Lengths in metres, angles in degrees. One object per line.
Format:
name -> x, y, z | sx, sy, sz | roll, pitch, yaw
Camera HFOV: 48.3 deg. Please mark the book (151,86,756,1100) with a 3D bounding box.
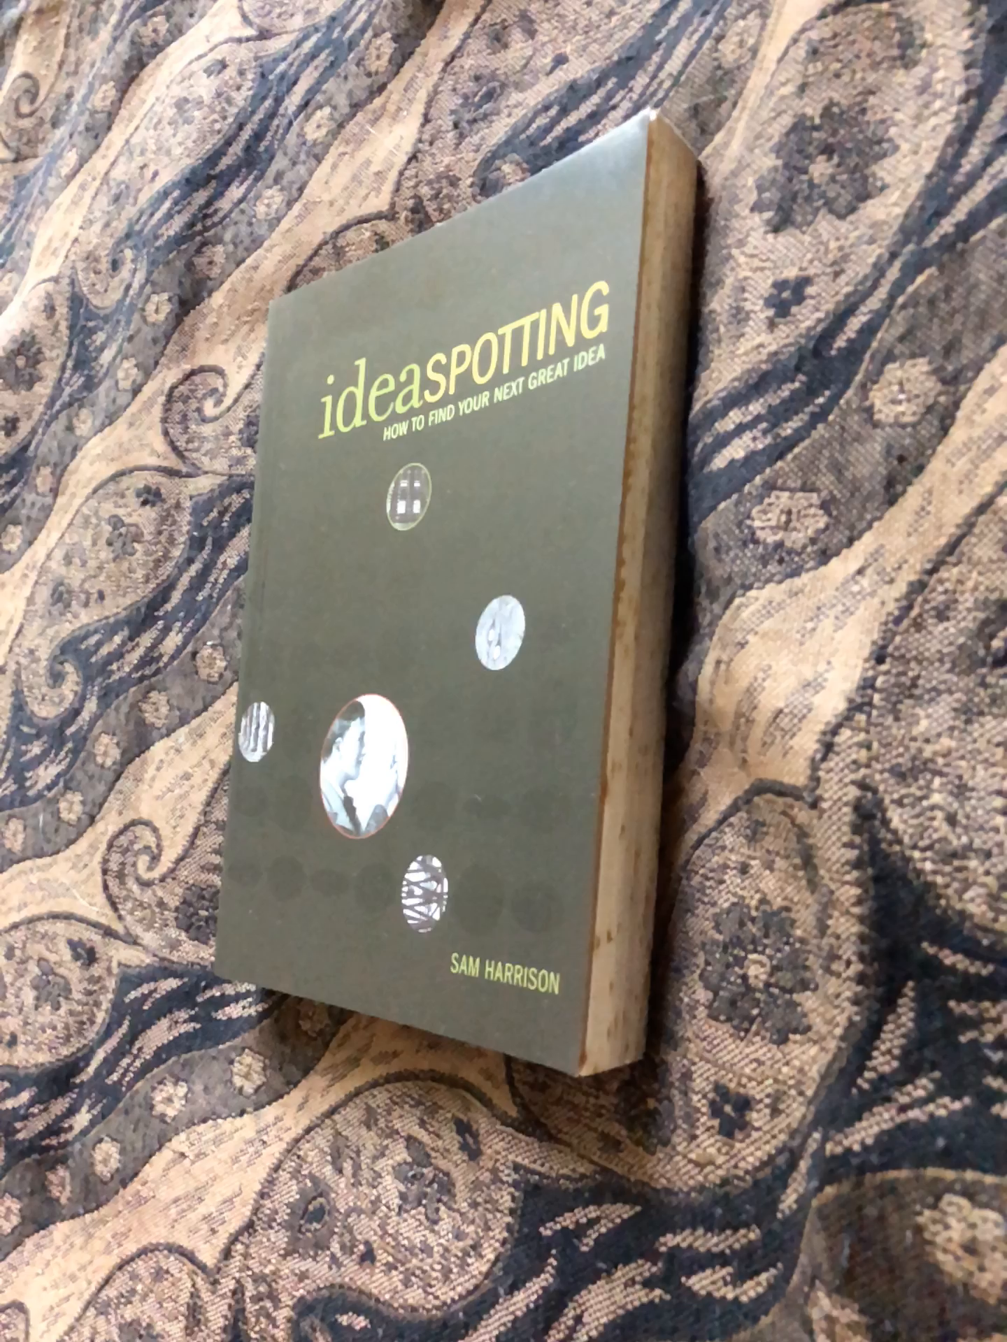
book -> -0.017, -0.012, 0.257 | 0.141, 0.040, 0.180 | -5, 77, 44
